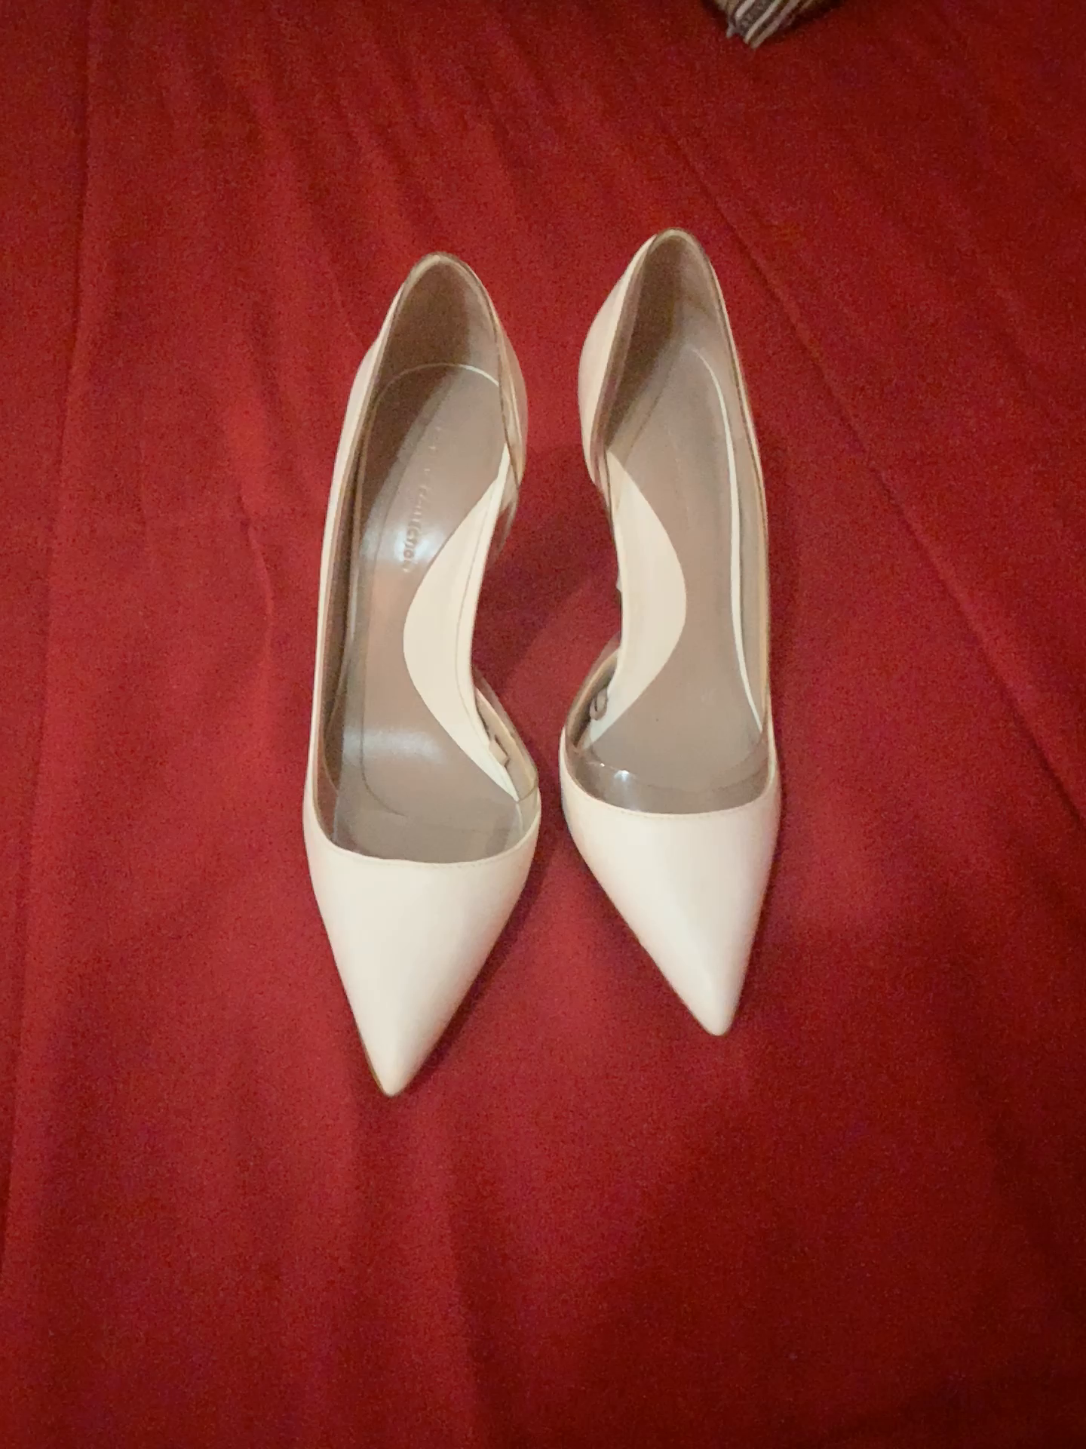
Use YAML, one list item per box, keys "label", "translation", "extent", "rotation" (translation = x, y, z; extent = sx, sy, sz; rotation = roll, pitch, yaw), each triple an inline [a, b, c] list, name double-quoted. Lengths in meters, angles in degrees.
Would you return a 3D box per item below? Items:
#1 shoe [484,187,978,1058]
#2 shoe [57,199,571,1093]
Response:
- label: "shoe"
  translation: [0.037, -0.040, 0.349]
  extent: [0.097, 0.140, 0.241]
  rotation: [0, 52, 0]
- label: "shoe"
  translation: [-0.043, -0.033, 0.340]
  extent: [0.097, 0.136, 0.244]
  rotation: [0, 52, 0]
